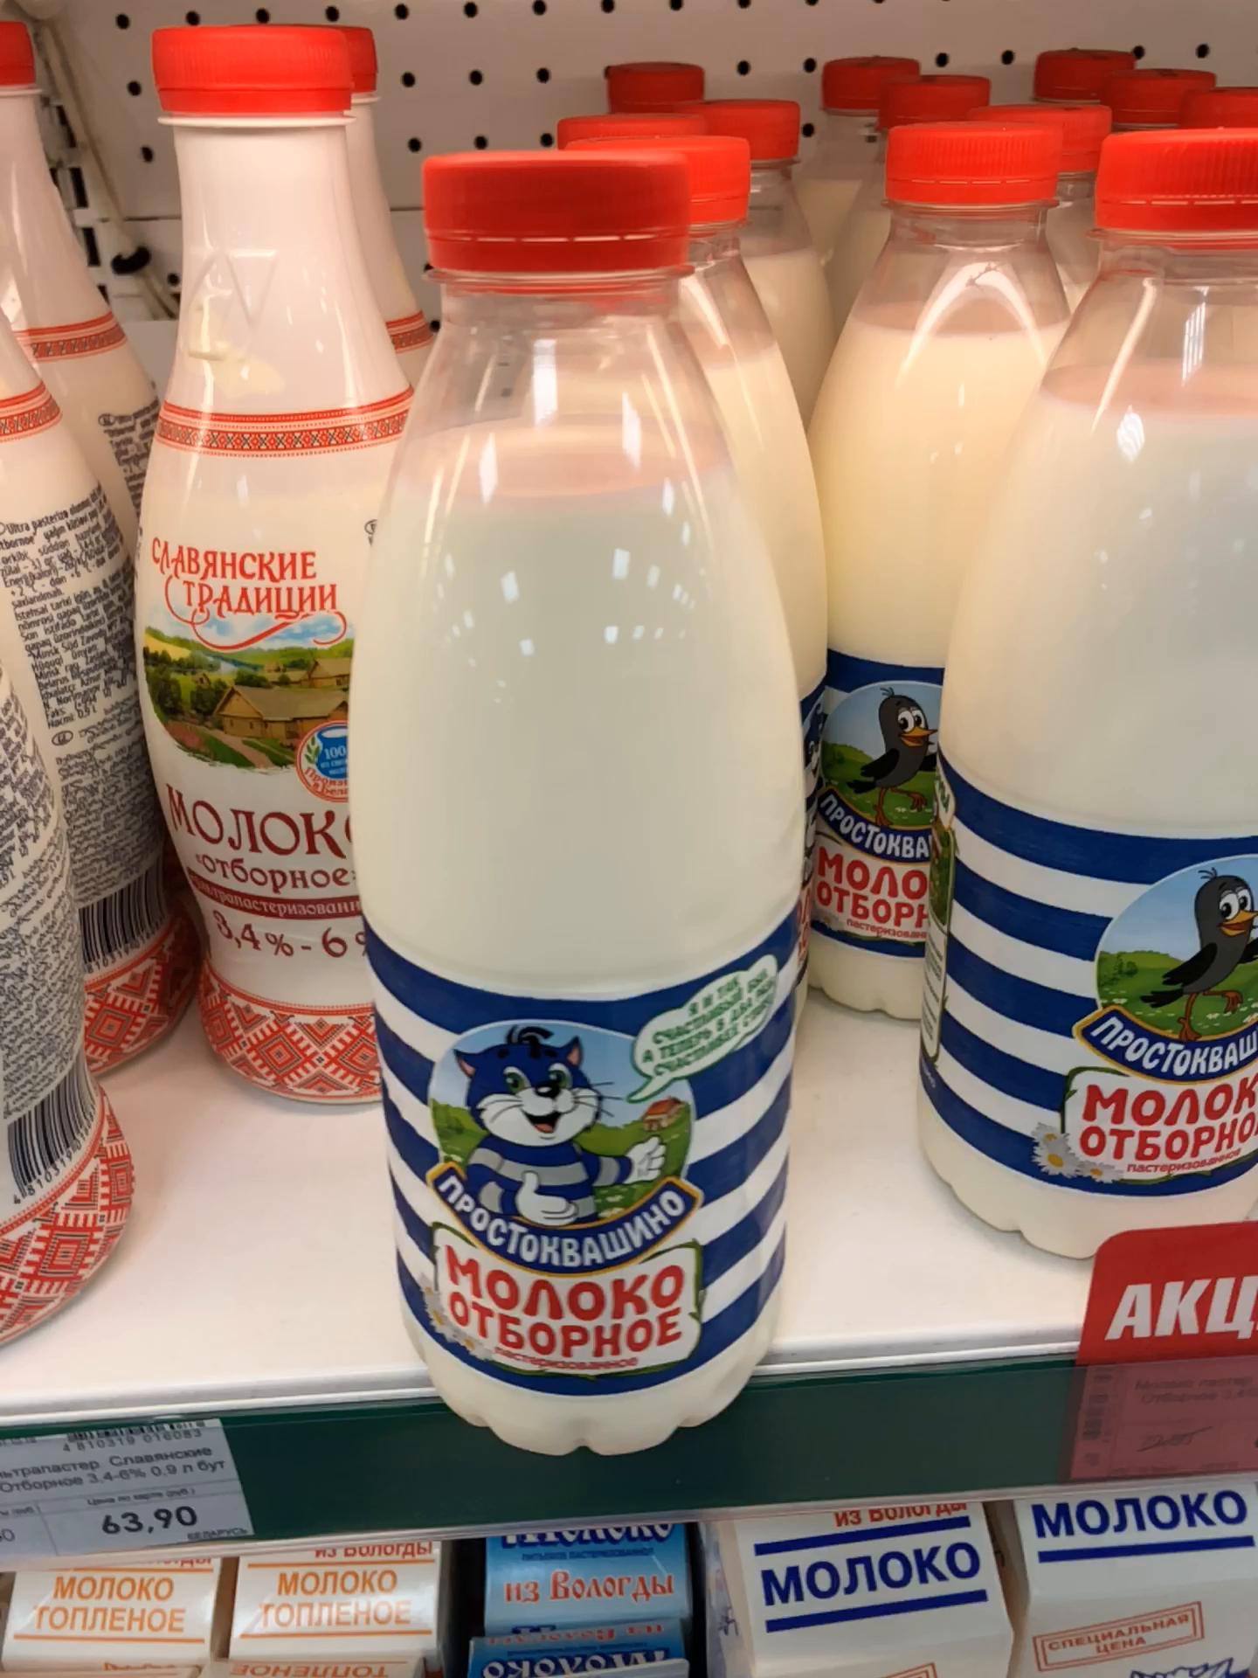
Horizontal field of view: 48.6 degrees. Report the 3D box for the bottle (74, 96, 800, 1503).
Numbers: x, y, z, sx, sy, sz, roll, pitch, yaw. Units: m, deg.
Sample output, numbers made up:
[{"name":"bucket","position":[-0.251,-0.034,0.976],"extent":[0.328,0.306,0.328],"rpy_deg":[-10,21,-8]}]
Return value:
[{"name":"bottle","position":[-0.017,0.000,0.251],"extent":[0.090,0.228,0.080],"rpy_deg":[1,24,7]}]
